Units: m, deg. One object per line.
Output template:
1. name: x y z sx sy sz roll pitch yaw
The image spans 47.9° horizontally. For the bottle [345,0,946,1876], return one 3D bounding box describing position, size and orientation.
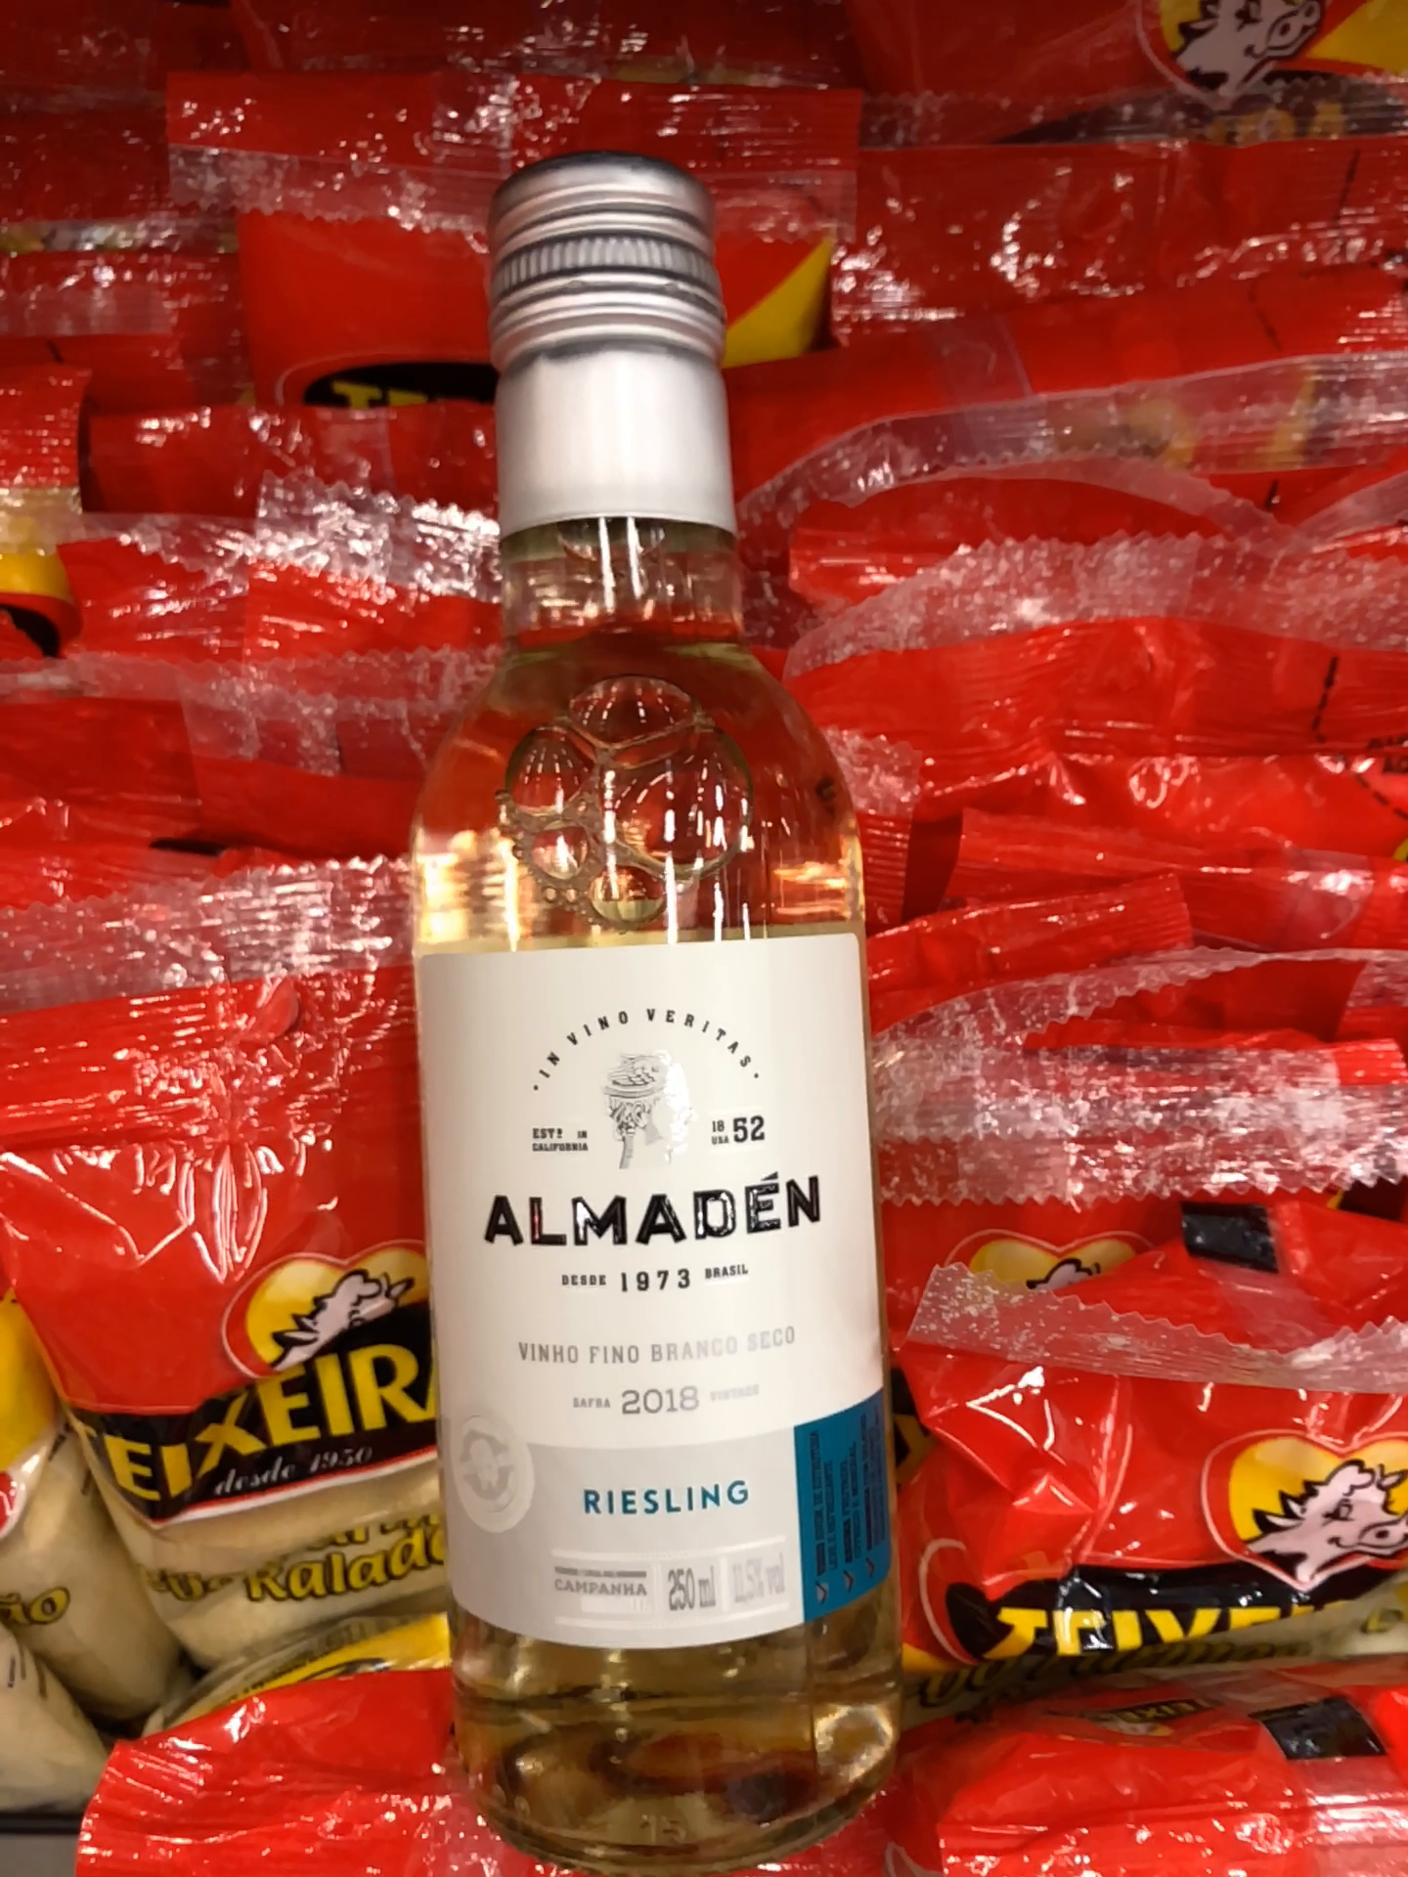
1. bottle: -0.008 -0.001 0.195 0.060 0.040 0.210 -2 87 0
